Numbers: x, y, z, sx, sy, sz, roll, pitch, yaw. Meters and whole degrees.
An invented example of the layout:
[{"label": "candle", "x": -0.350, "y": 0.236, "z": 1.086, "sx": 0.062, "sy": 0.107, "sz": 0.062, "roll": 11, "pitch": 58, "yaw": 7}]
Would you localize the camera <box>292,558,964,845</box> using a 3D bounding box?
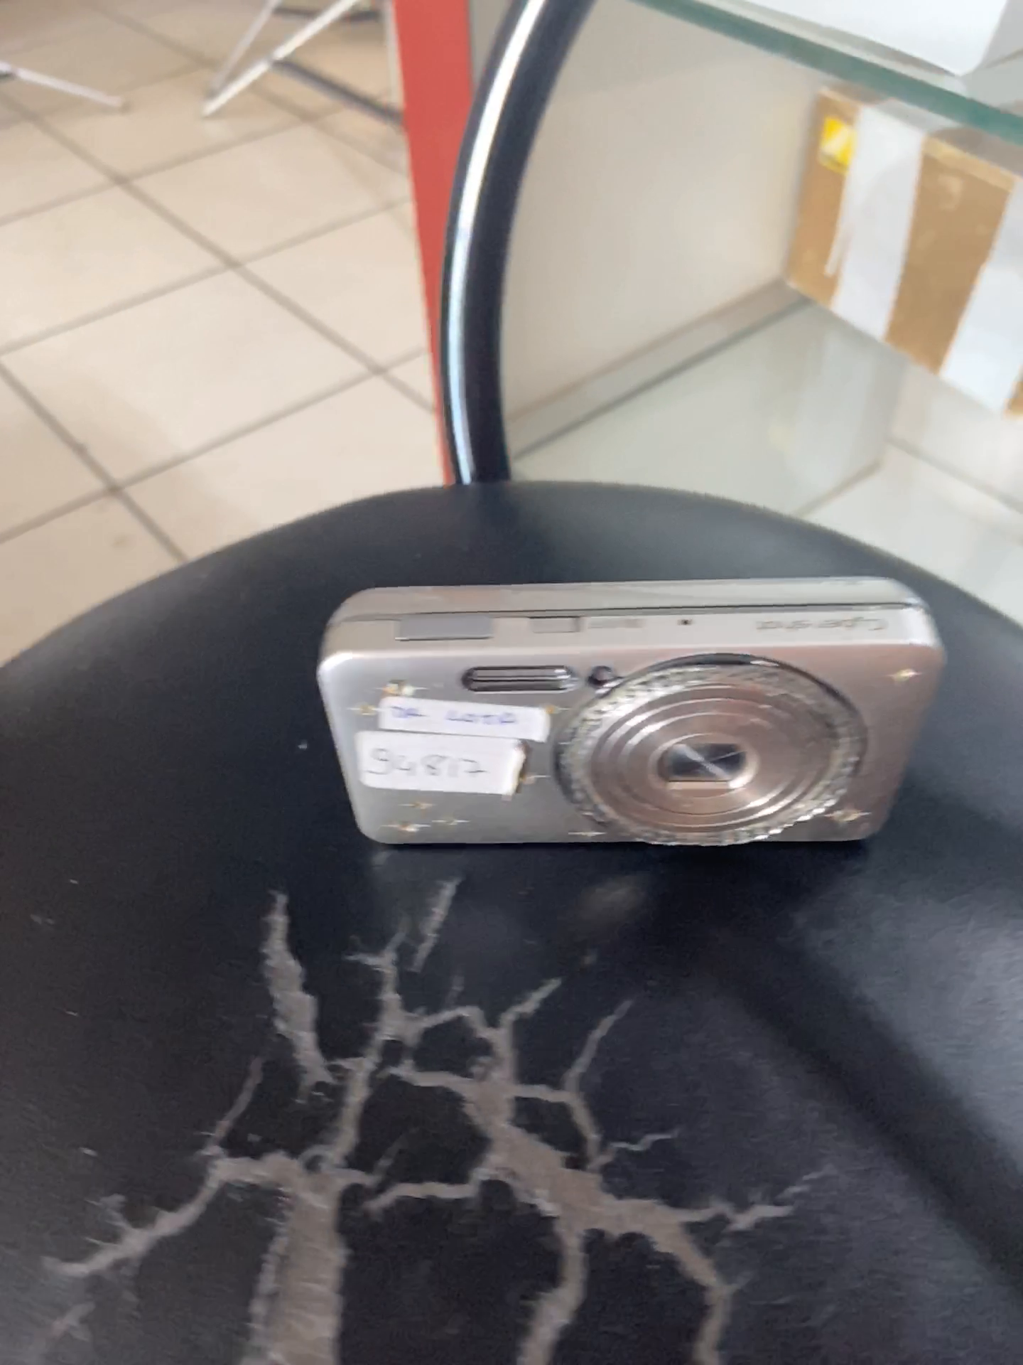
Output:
[{"label": "camera", "x": 0.016, "y": 0.004, "z": 0.171, "sx": 0.092, "sy": 0.042, "sz": 0.022, "roll": -1, "pitch": 48, "yaw": 1}]
